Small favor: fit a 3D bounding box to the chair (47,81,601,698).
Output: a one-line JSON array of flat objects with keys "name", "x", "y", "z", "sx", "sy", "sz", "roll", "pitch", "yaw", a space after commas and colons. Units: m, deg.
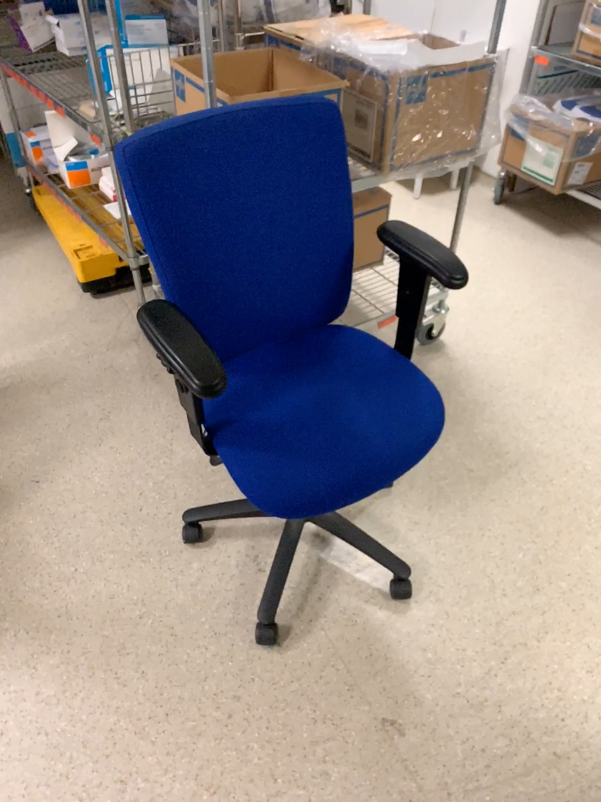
[{"name": "chair", "x": 0.007, "y": -0.043, "z": 1.320, "sx": 0.680, "sy": 0.949, "sz": 0.671, "roll": -21, "pitch": 46, "yaw": -23}]
